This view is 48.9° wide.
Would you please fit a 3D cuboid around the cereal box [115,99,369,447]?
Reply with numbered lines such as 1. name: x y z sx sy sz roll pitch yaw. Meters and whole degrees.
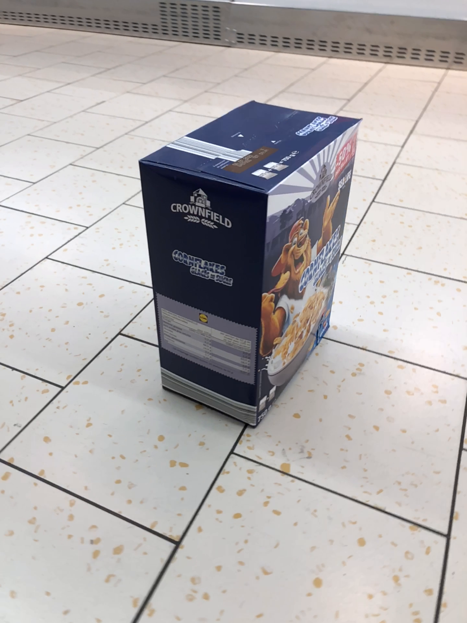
1. cereal box: 0.019 -0.046 0.521 0.130 0.258 0.211 20 41 25
